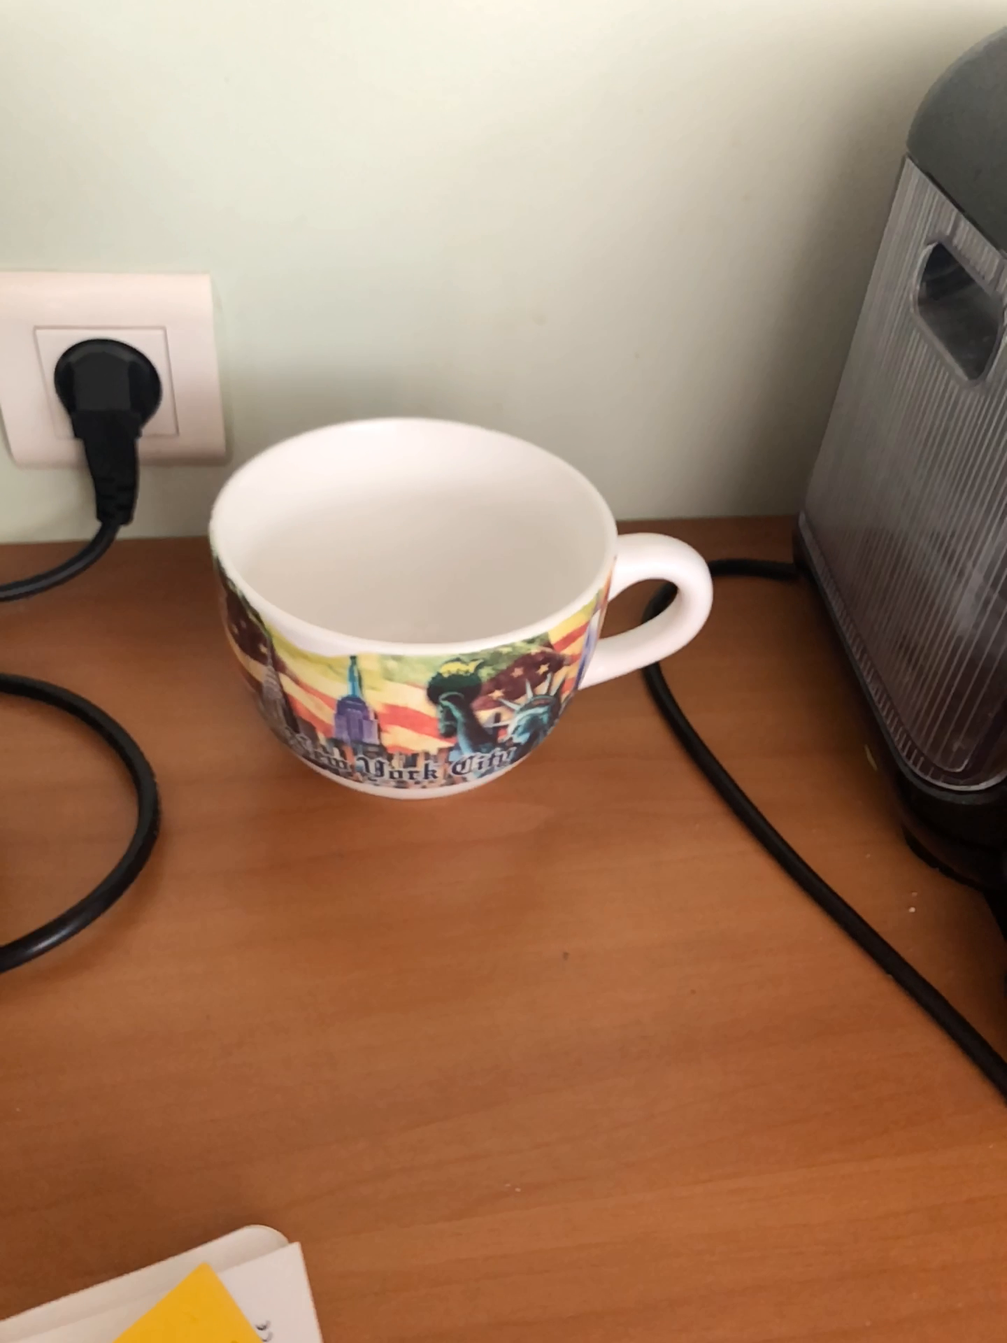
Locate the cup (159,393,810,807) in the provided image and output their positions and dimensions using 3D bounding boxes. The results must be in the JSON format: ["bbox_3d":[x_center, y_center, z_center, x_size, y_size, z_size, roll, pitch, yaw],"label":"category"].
[{"bbox_3d":[-0.009,-0.026,0.360,0.170,0.070,0.121,1,41,-6],"label":"cup"}]
